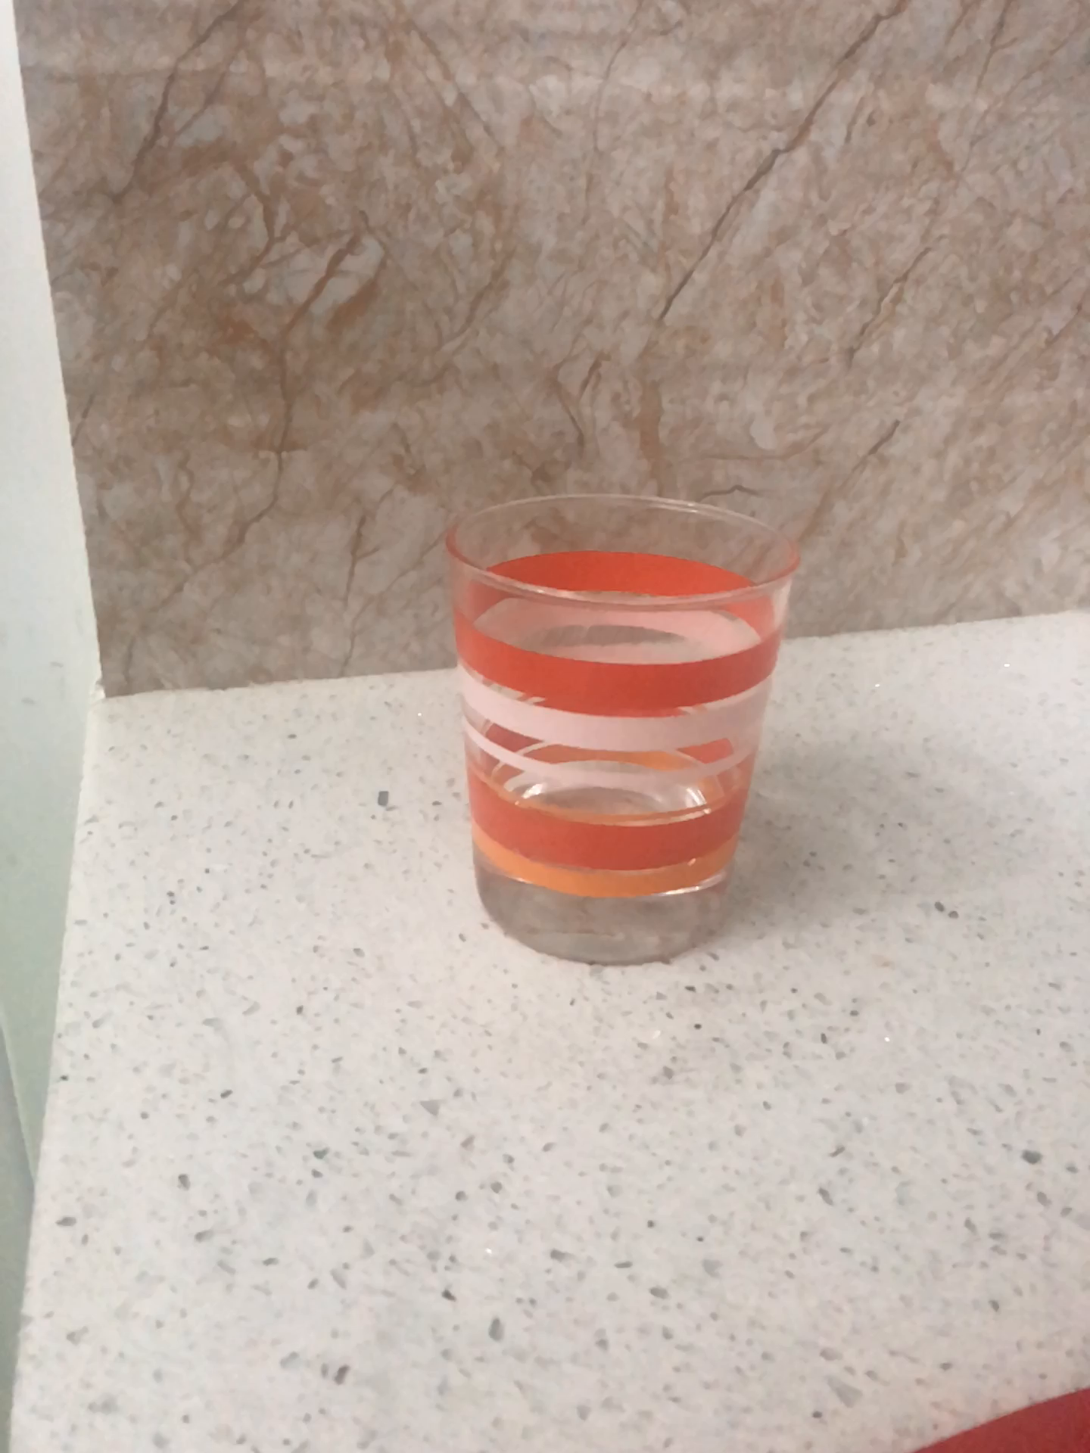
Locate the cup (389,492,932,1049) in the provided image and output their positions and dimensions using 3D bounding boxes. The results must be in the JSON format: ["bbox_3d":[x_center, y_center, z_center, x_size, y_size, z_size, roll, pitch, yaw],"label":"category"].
[{"bbox_3d":[0.020,0.003,0.281,0.090,0.090,0.080,-9,27,-22],"label":"cup"}]
